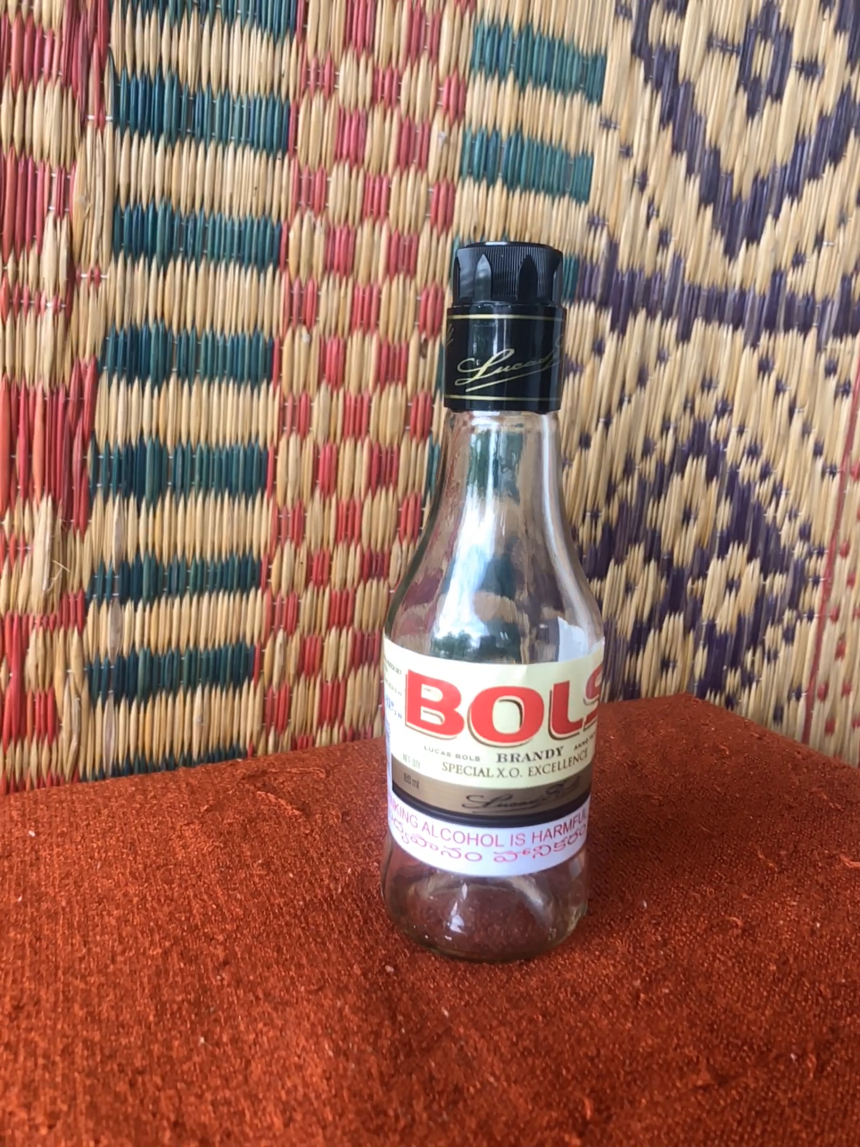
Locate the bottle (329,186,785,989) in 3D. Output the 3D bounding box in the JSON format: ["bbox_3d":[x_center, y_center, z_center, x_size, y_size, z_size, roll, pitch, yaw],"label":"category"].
[{"bbox_3d":[0.022,0.002,0.225,0.070,0.160,0.060,-2,14,-23],"label":"bottle"}]
